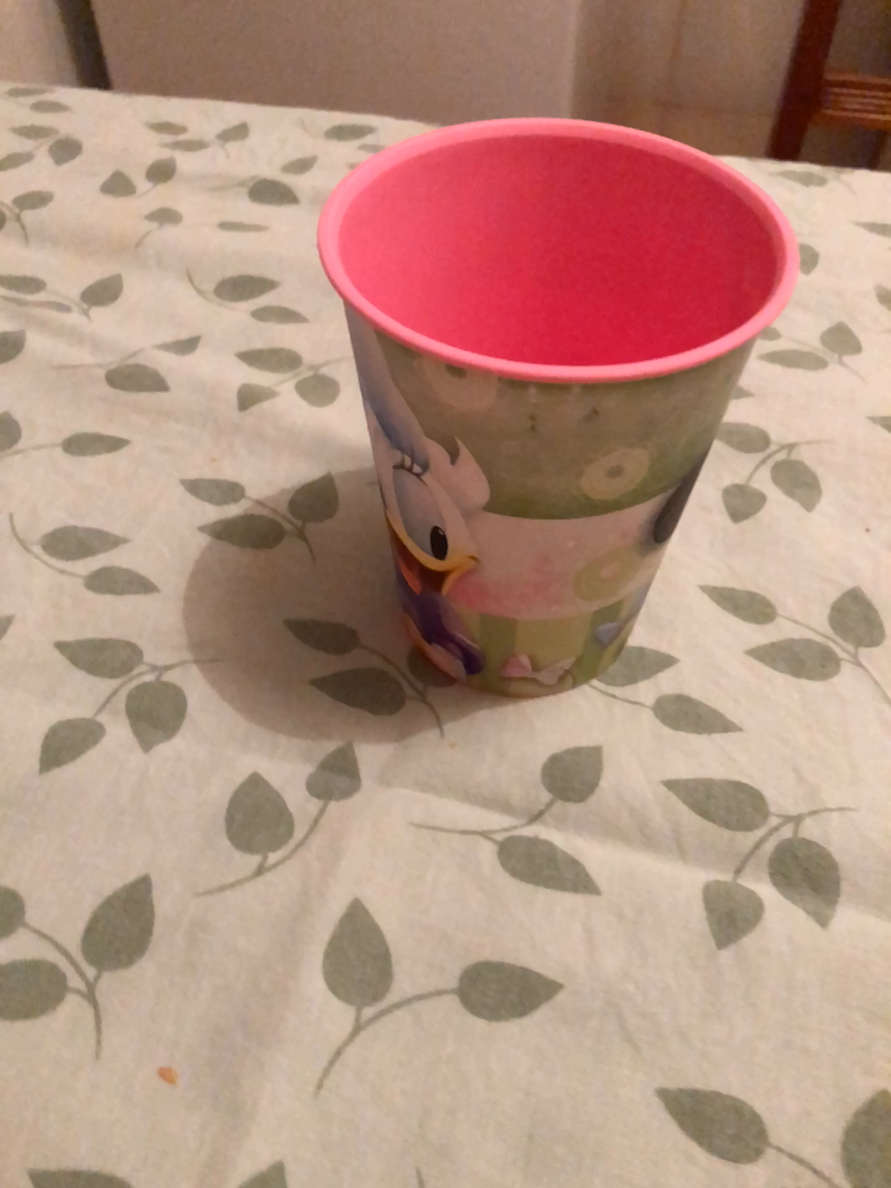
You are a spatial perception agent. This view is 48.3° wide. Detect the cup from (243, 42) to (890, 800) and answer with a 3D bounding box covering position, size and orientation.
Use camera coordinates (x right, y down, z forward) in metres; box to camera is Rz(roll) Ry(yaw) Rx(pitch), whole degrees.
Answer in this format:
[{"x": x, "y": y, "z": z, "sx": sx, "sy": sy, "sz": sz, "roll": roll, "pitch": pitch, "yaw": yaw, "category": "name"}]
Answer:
[{"x": 0.018, "y": -0.037, "z": 0.224, "sx": 0.100, "sy": 0.119, "sz": 0.101, "roll": 0, "pitch": 50, "yaw": -1, "category": "cup"}]
